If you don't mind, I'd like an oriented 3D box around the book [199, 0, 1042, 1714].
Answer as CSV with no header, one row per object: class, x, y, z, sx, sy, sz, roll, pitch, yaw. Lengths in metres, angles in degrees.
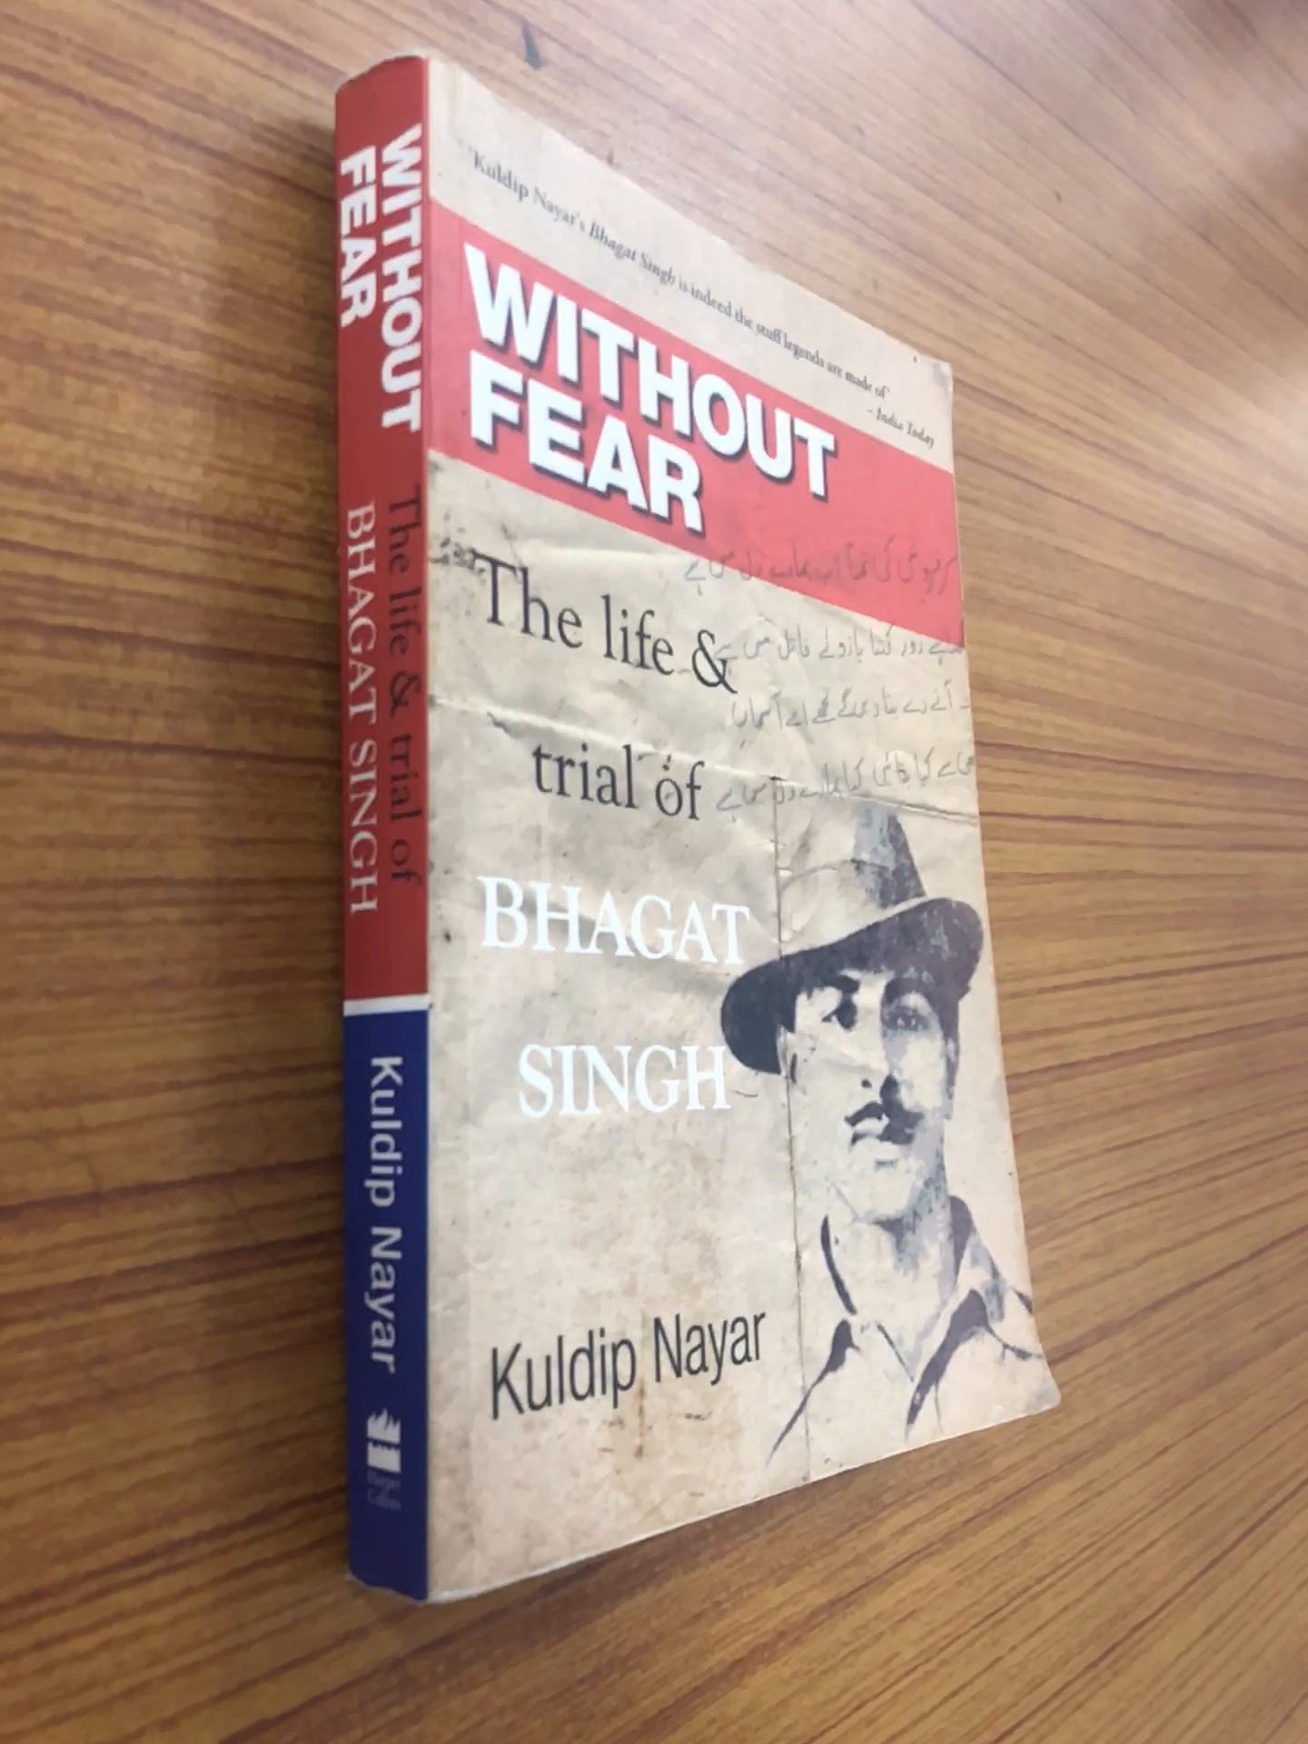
book,0.004,-0.010,0.225,0.141,0.030,0.210,7,77,-46
